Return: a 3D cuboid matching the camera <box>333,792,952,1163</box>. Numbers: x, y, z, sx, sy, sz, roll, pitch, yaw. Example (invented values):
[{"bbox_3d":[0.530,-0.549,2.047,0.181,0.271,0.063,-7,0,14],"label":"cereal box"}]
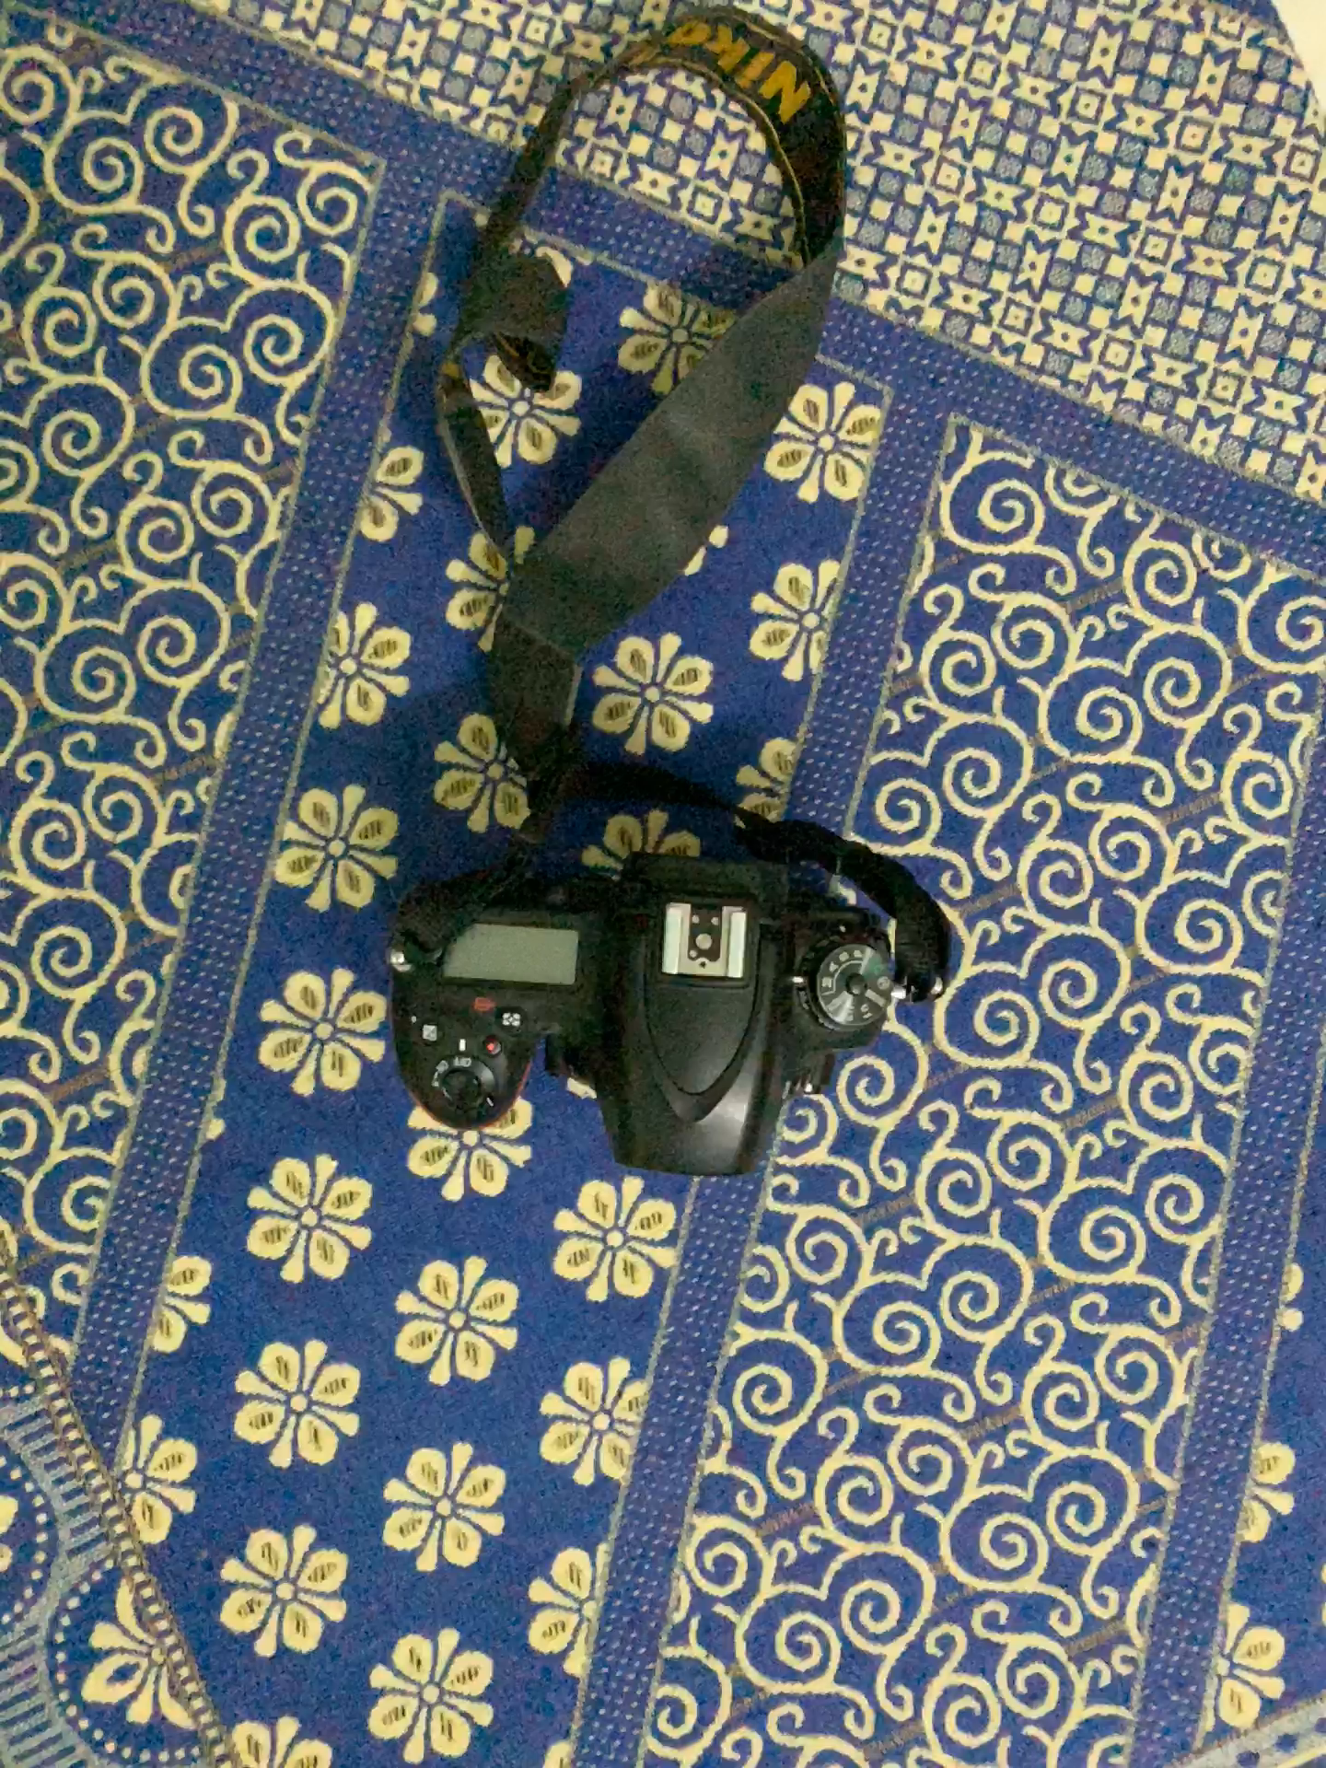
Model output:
[{"bbox_3d":[-0.005,0.024,0.379,0.150,0.090,0.088,1,88,-1],"label":"camera"}]
